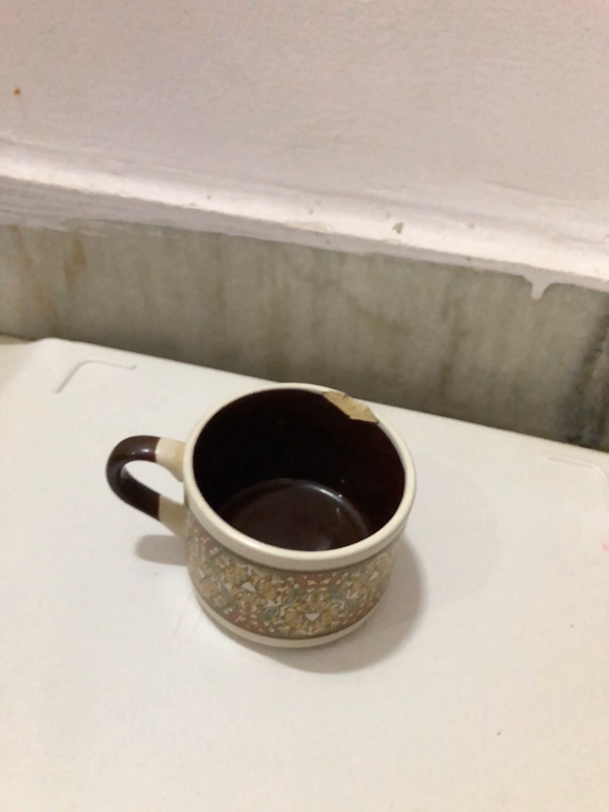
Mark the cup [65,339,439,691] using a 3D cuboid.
[{"bbox_3d":[-0.012,0.034,0.237,0.100,0.060,0.081,12,41,7],"label":"cup"}]
